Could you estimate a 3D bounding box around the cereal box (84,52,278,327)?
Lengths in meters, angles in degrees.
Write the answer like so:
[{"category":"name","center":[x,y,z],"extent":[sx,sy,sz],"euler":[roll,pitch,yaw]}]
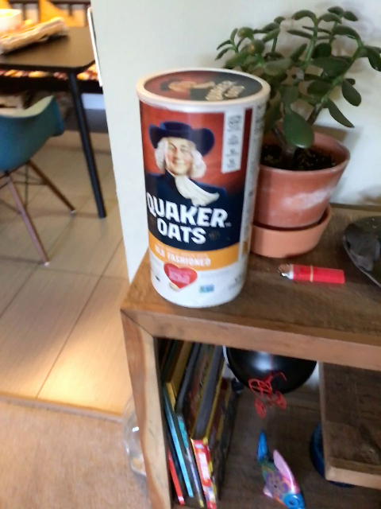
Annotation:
[{"category":"cereal box","center":[-0.001,-0.072,0.470],"extent":[0.140,0.248,0.141],"euler":[14,41,17]}]
